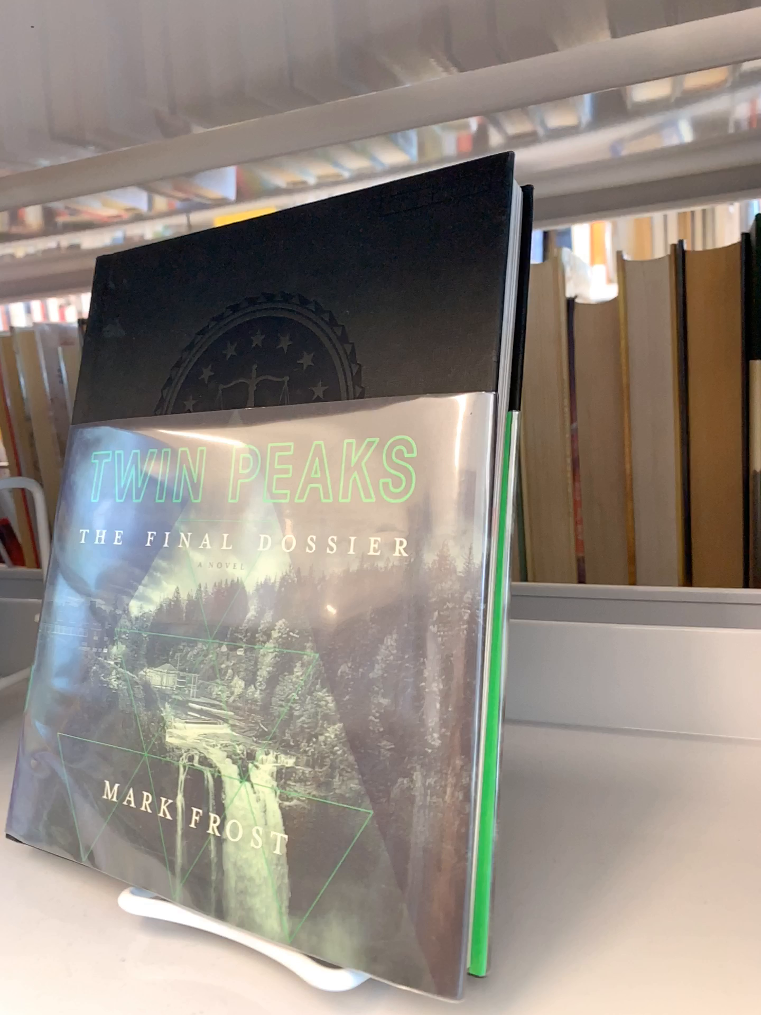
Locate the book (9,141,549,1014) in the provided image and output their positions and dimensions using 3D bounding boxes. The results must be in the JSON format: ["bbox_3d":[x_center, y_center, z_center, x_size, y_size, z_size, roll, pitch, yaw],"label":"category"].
[{"bbox_3d":[-0.044,0.011,0.266,0.190,0.228,0.020,0,-9,33],"label":"book"}]
